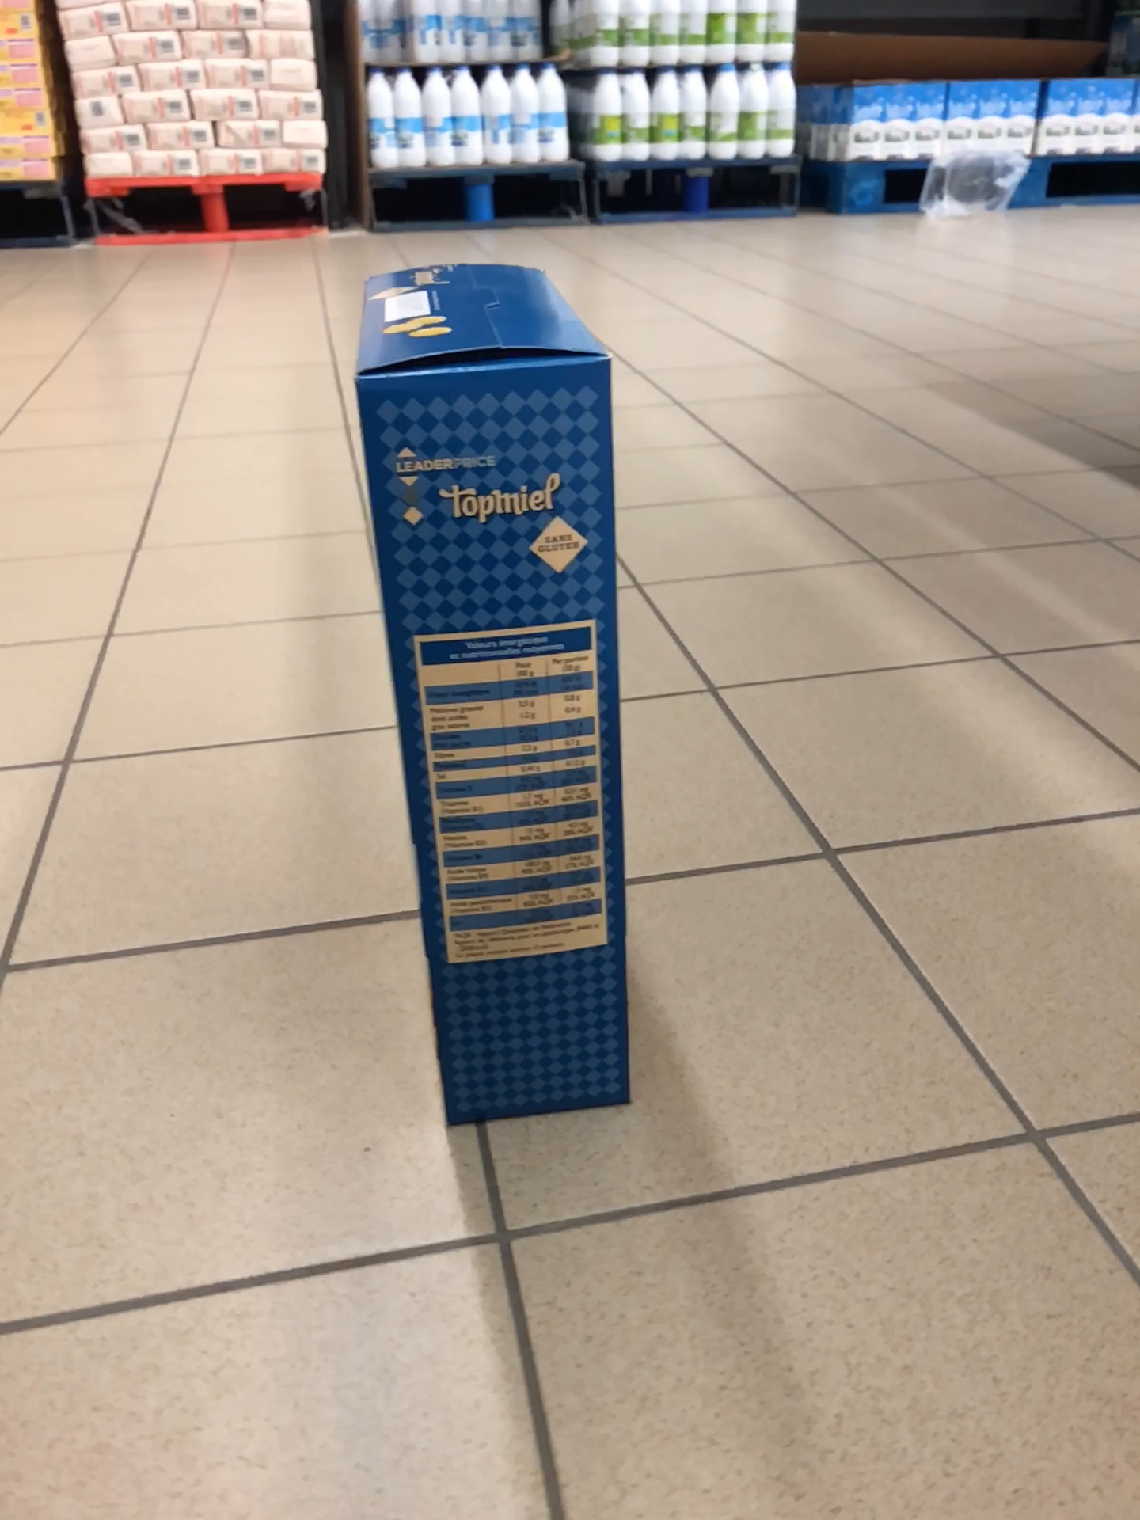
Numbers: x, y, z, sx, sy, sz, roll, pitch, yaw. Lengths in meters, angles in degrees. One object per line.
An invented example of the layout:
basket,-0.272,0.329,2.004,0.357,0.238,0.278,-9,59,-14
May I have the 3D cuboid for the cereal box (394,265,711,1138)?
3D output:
cereal box,-0.014,-0.034,0.492,0.080,0.278,0.201,-5,27,-8
